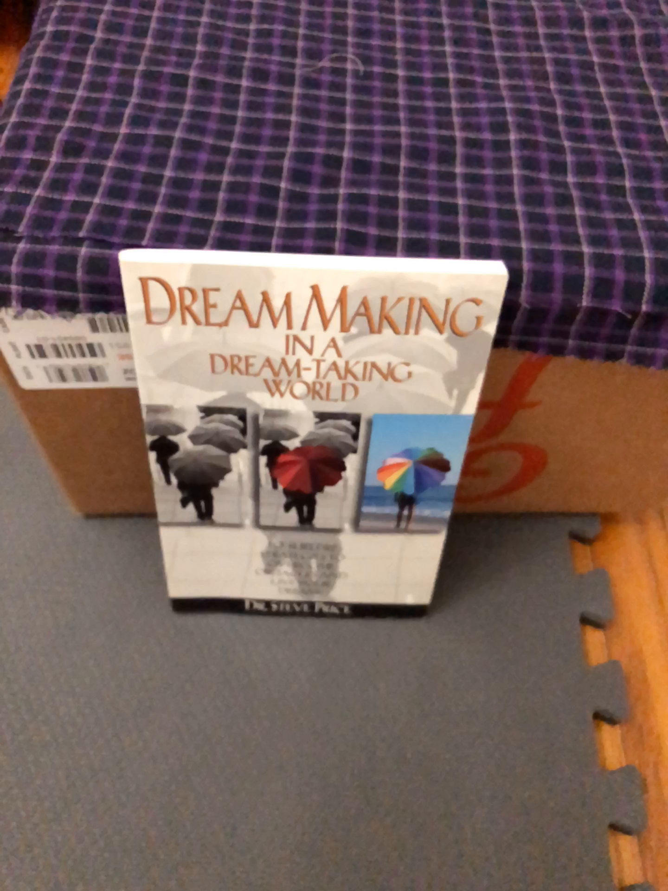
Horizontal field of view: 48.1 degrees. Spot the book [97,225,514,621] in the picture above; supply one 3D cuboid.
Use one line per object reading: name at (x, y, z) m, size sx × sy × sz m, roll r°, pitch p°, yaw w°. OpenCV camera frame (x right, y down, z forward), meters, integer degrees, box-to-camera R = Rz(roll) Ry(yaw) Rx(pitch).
book at (-0.014, 0.007, 0.351) m, size 0.150 × 0.219 × 0.020 m, roll 3°, pitch 43°, yaw 0°
